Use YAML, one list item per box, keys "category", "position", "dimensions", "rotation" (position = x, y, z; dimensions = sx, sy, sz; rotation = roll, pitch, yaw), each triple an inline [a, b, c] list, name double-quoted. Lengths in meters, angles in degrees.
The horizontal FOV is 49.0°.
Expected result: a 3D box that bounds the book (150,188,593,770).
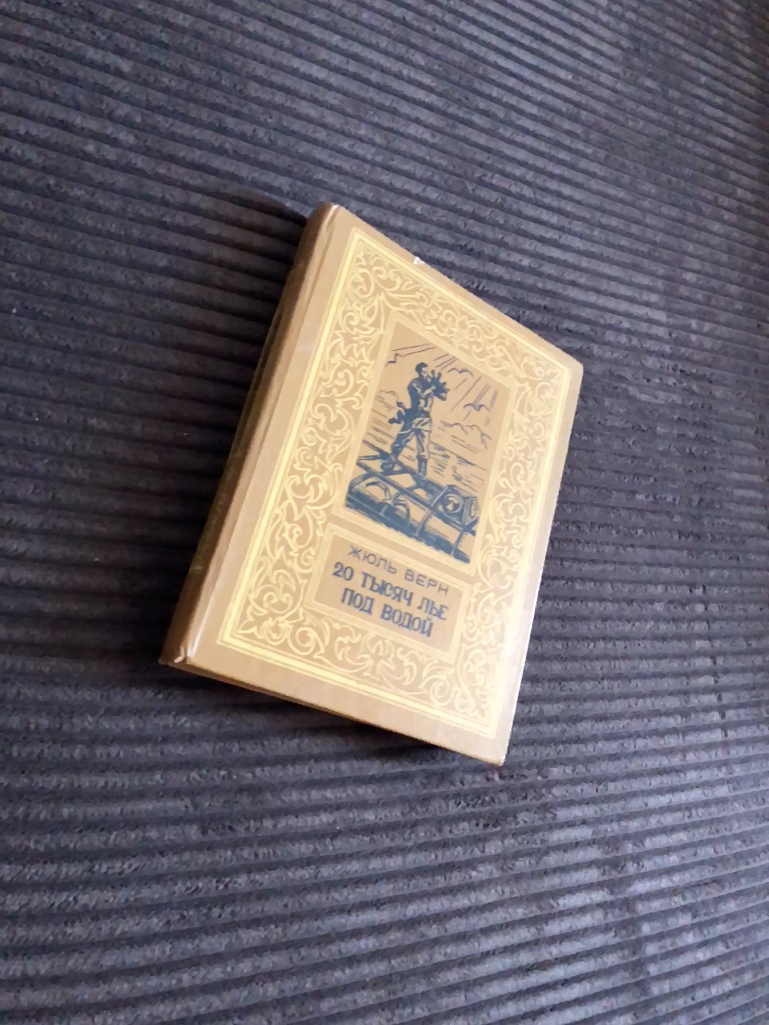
- category: "book"
  position: [0.010, -0.011, 0.396]
  dimensions: [0.170, 0.029, 0.220]
  rotation: [25, 69, -28]
